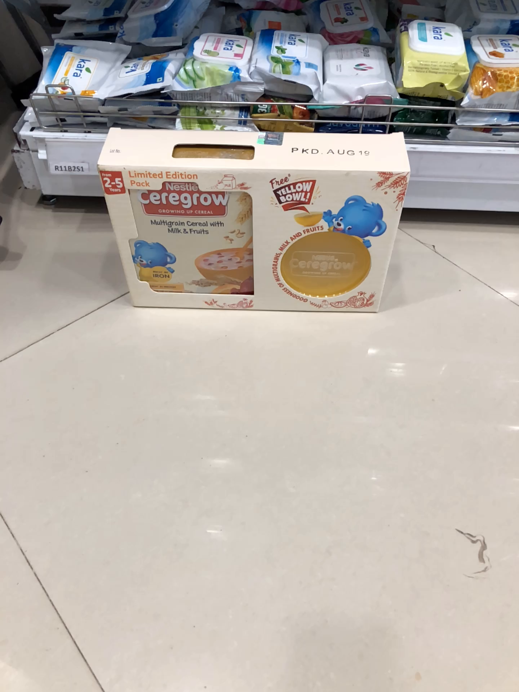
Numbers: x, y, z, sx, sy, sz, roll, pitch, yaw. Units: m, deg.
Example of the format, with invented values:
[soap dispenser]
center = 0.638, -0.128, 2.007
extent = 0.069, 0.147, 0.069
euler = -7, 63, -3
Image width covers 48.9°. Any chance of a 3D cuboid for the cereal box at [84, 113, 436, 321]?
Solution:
[cereal box]
center = 0.001, -0.127, 0.606
extent = 0.310, 0.209, 0.070
euler = 2, 51, 2
